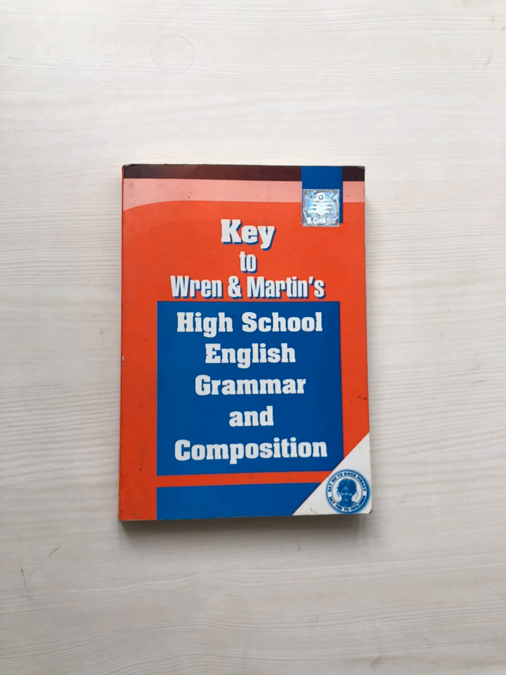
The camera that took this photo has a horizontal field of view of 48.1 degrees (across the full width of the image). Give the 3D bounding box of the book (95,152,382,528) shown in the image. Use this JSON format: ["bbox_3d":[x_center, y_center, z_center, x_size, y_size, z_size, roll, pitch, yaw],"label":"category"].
[{"bbox_3d":[-0.006,0.001,0.277,0.130,0.030,0.170,1,86,-6],"label":"book"}]
